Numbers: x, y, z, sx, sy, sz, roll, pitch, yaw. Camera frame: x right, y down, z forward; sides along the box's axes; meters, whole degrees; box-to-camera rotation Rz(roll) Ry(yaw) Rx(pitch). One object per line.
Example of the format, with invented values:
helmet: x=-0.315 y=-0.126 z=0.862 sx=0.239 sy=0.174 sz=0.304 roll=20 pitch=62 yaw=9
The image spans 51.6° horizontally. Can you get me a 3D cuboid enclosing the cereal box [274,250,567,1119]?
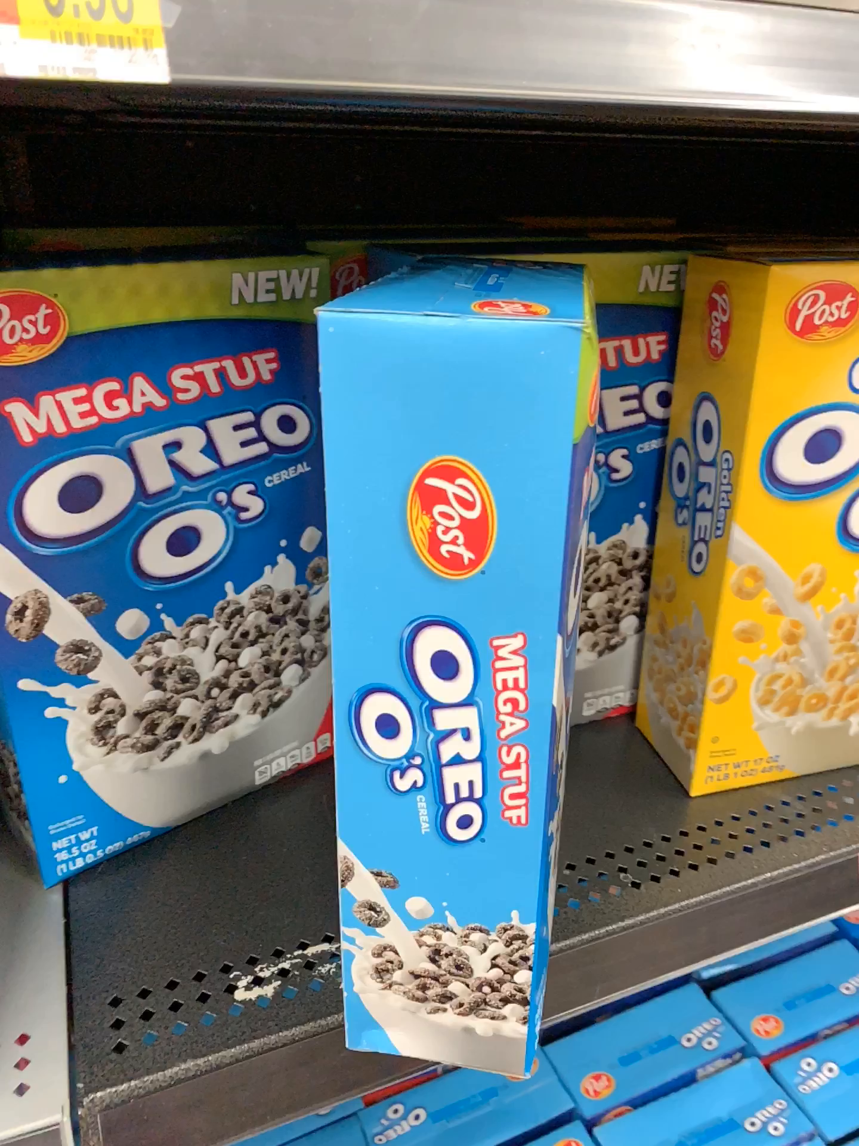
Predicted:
cereal box: x=0.008 y=0.035 z=0.410 sx=0.080 sy=0.328 sz=0.211 roll=5 pitch=24 yaw=8
